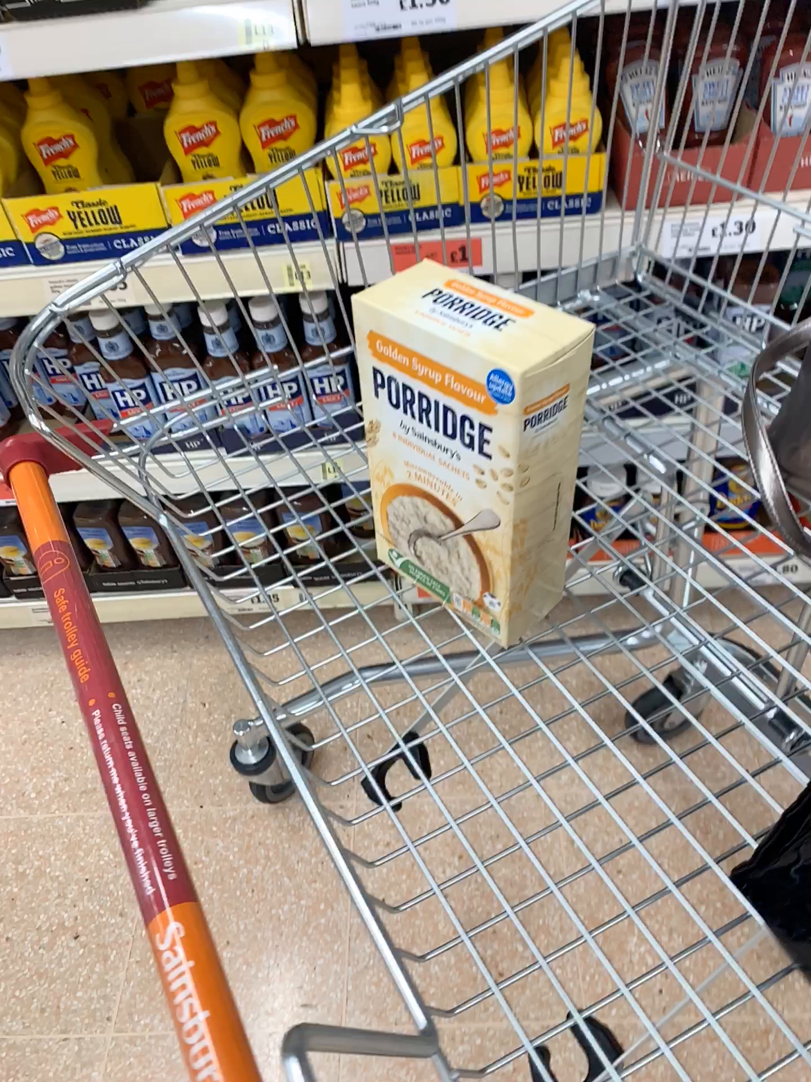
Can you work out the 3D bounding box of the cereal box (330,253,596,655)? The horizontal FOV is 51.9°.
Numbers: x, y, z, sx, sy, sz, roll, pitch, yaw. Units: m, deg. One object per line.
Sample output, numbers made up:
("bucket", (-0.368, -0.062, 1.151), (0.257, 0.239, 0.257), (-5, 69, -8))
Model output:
("cereal box", (0.034, -0.049, 0.521), (0.070, 0.208, 0.131), (-36, 52, -28))
